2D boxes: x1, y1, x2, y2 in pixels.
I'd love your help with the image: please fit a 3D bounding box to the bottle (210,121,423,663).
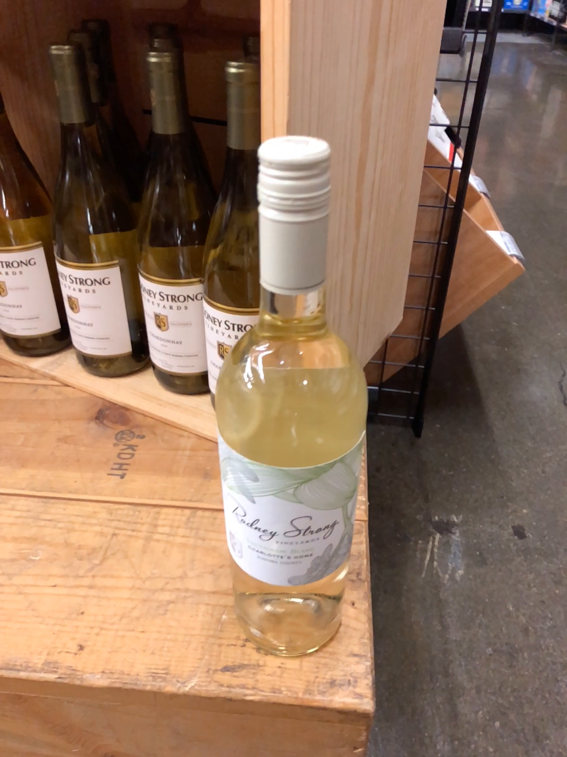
[{"bbox_3d":[0.013,0.027,0.326,0.073,0.283,0.079,1,35,-1],"label":"bottle"}]
